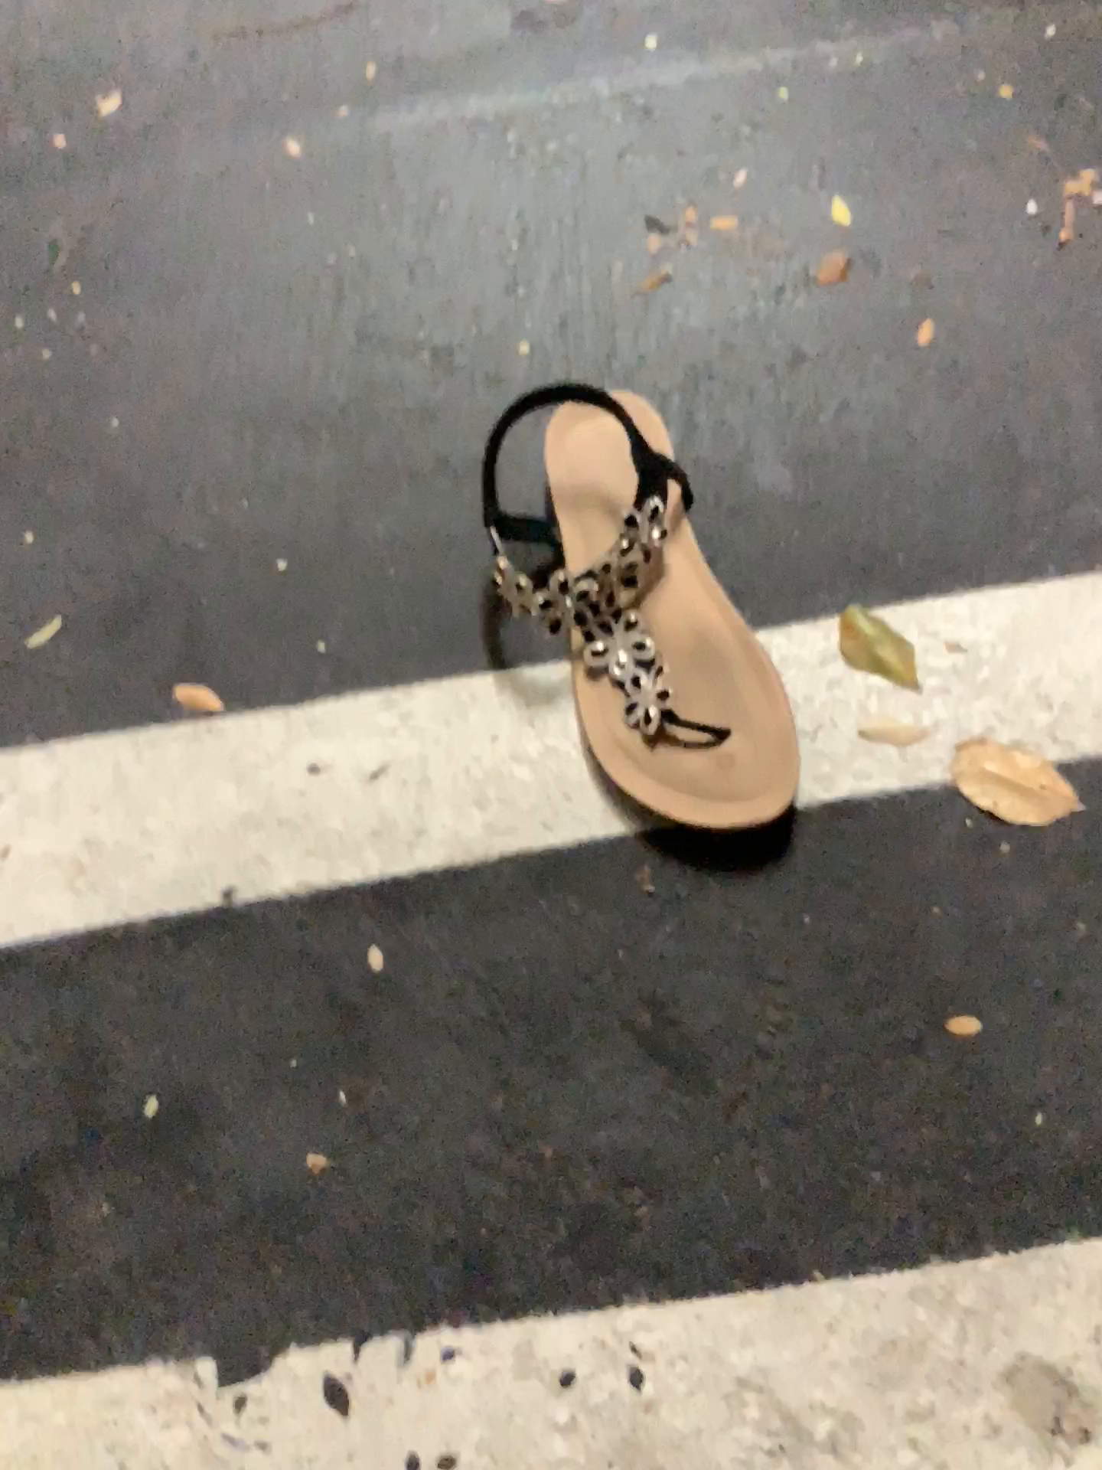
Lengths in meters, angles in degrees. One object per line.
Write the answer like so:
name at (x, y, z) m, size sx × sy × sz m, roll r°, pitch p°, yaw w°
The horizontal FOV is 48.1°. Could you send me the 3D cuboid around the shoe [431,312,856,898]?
shoe at (0.035, -0.068, 0.587) m, size 0.120 × 0.060 × 0.260 m, roll -16°, pitch 66°, yaw -3°
